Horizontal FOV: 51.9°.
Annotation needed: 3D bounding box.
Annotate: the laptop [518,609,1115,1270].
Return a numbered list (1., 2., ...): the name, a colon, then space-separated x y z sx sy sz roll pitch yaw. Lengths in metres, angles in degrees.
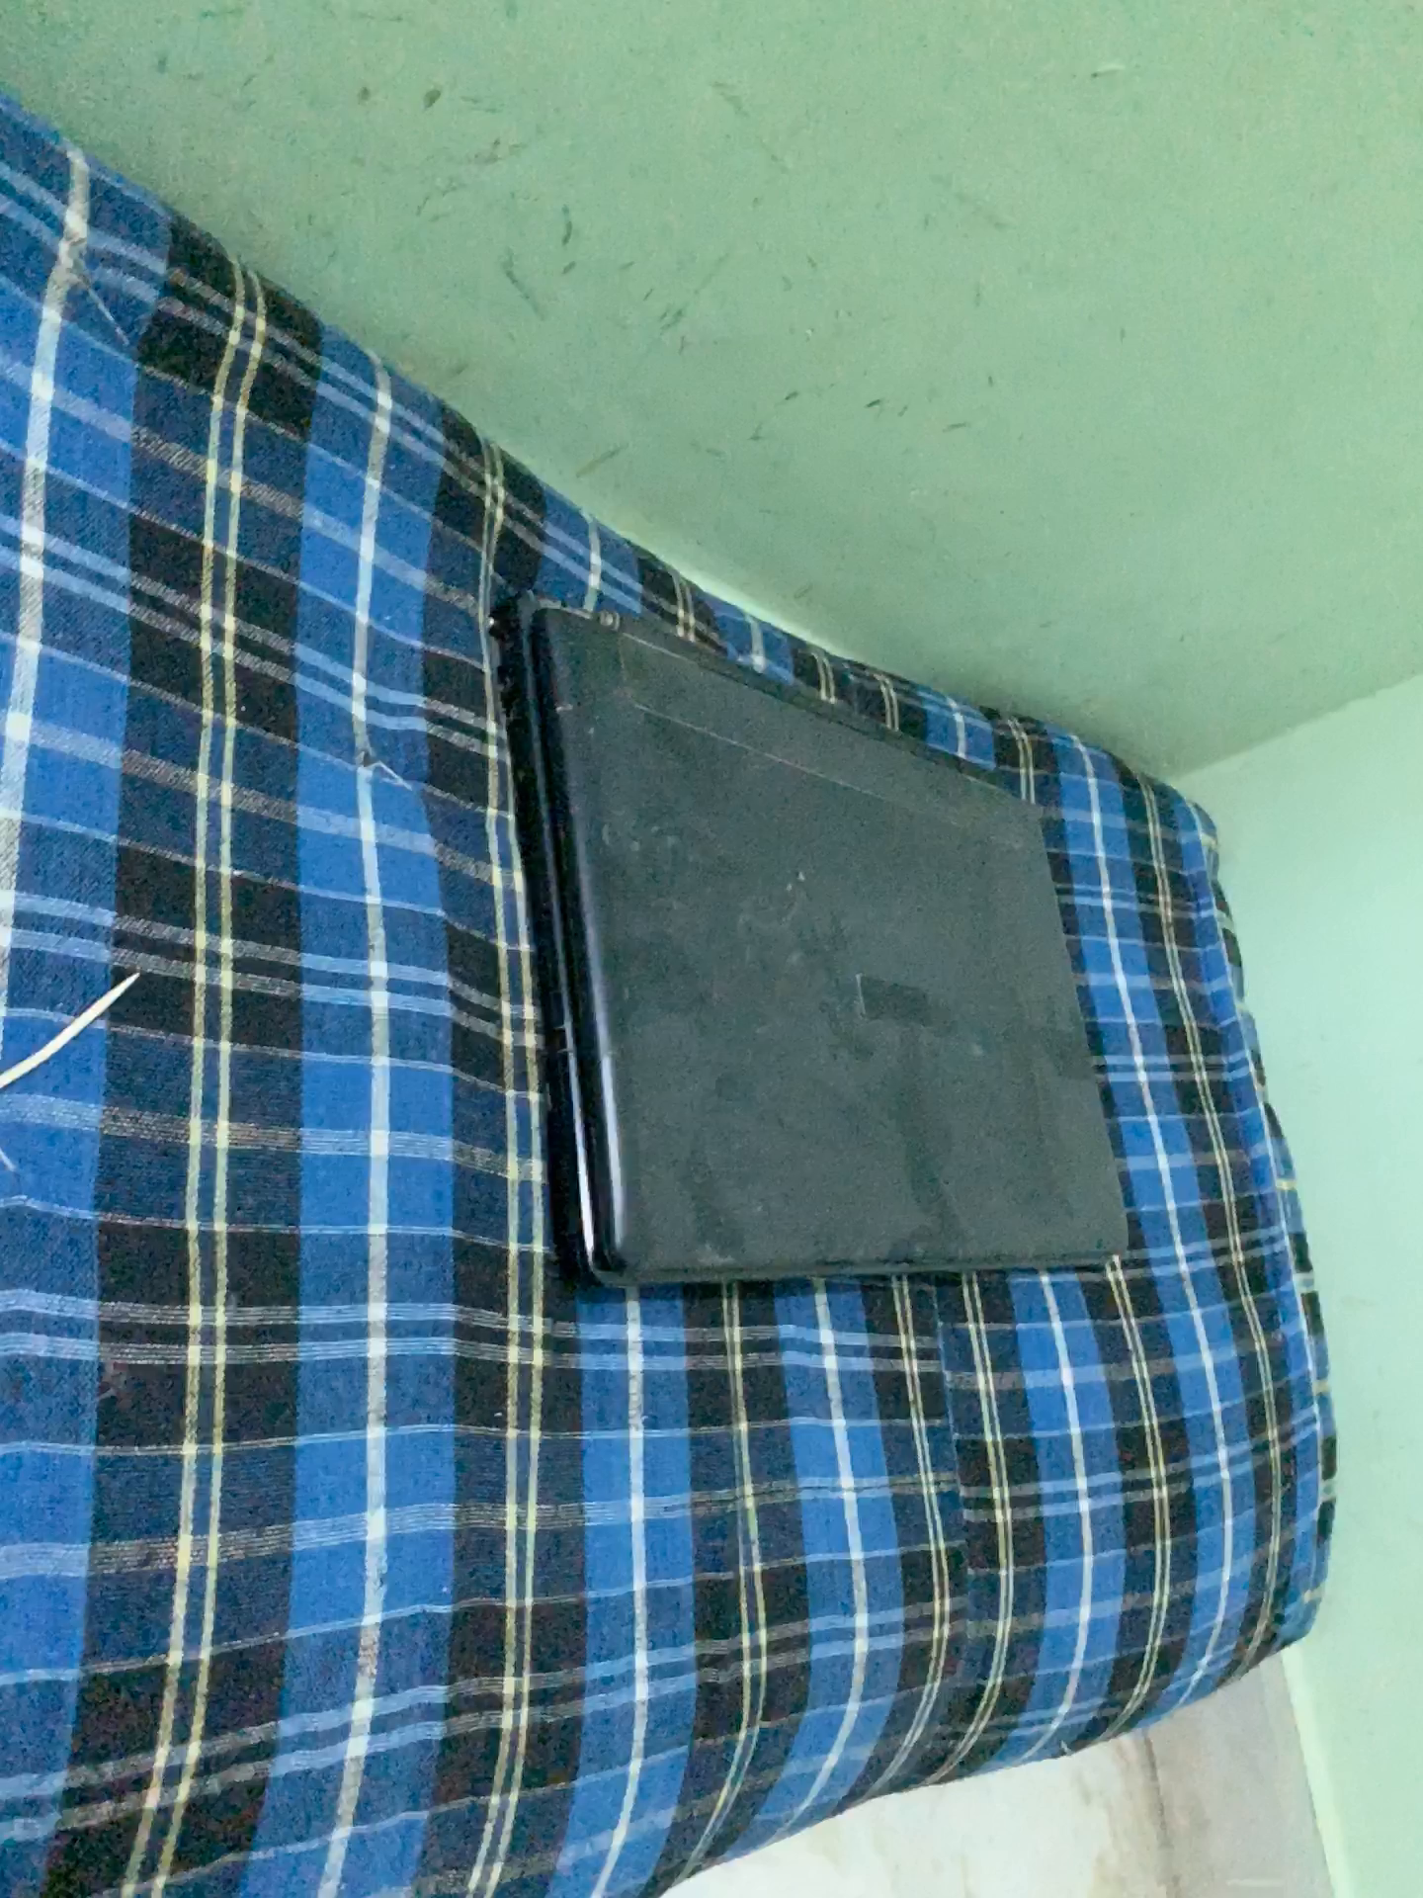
1. laptop: 0.060 0.009 0.577 0.325 0.005 0.216 10 66 -48
